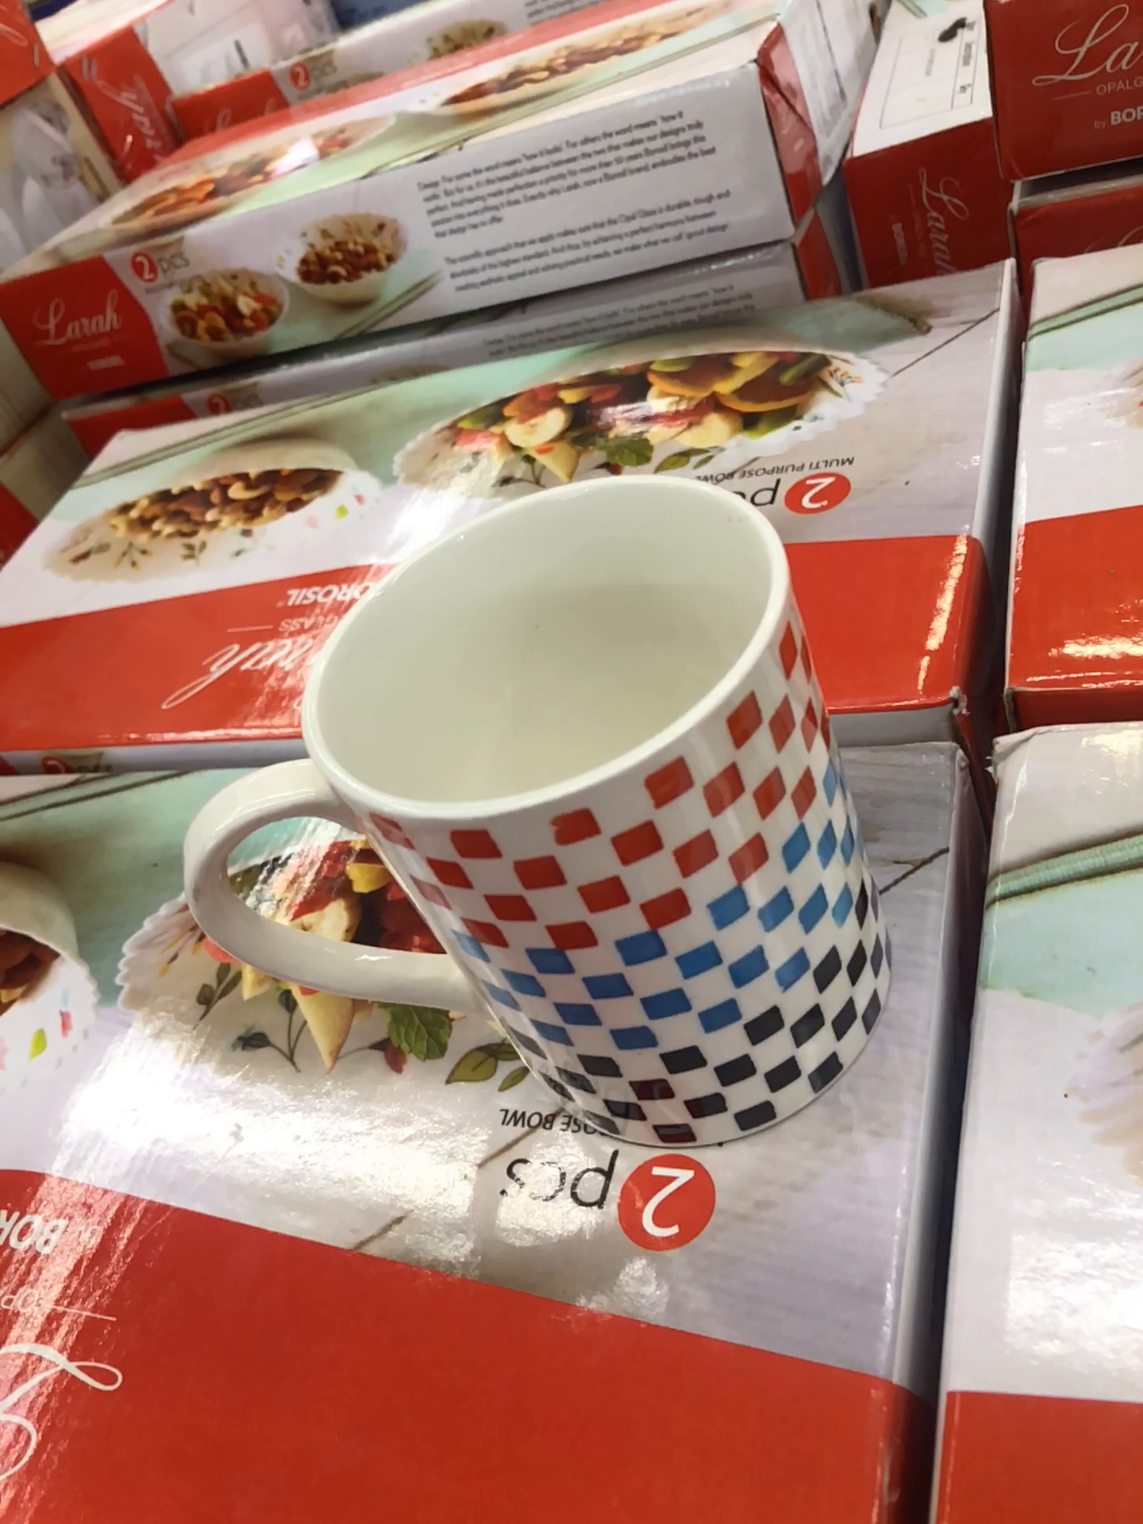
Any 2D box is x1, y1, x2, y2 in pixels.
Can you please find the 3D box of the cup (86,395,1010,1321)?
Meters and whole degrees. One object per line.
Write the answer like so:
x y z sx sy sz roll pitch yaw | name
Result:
-0.005 0.015 0.227 0.120 0.089 0.091 -24 39 1 | cup
